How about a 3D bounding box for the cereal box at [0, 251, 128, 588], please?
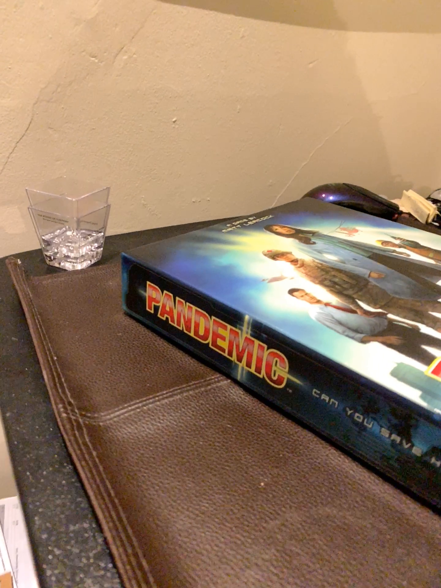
[{"bbox_3d":[-0.518,0.505,0.817,0.510,0.994,0.472,8,29,8],"label":"cereal box"}]
